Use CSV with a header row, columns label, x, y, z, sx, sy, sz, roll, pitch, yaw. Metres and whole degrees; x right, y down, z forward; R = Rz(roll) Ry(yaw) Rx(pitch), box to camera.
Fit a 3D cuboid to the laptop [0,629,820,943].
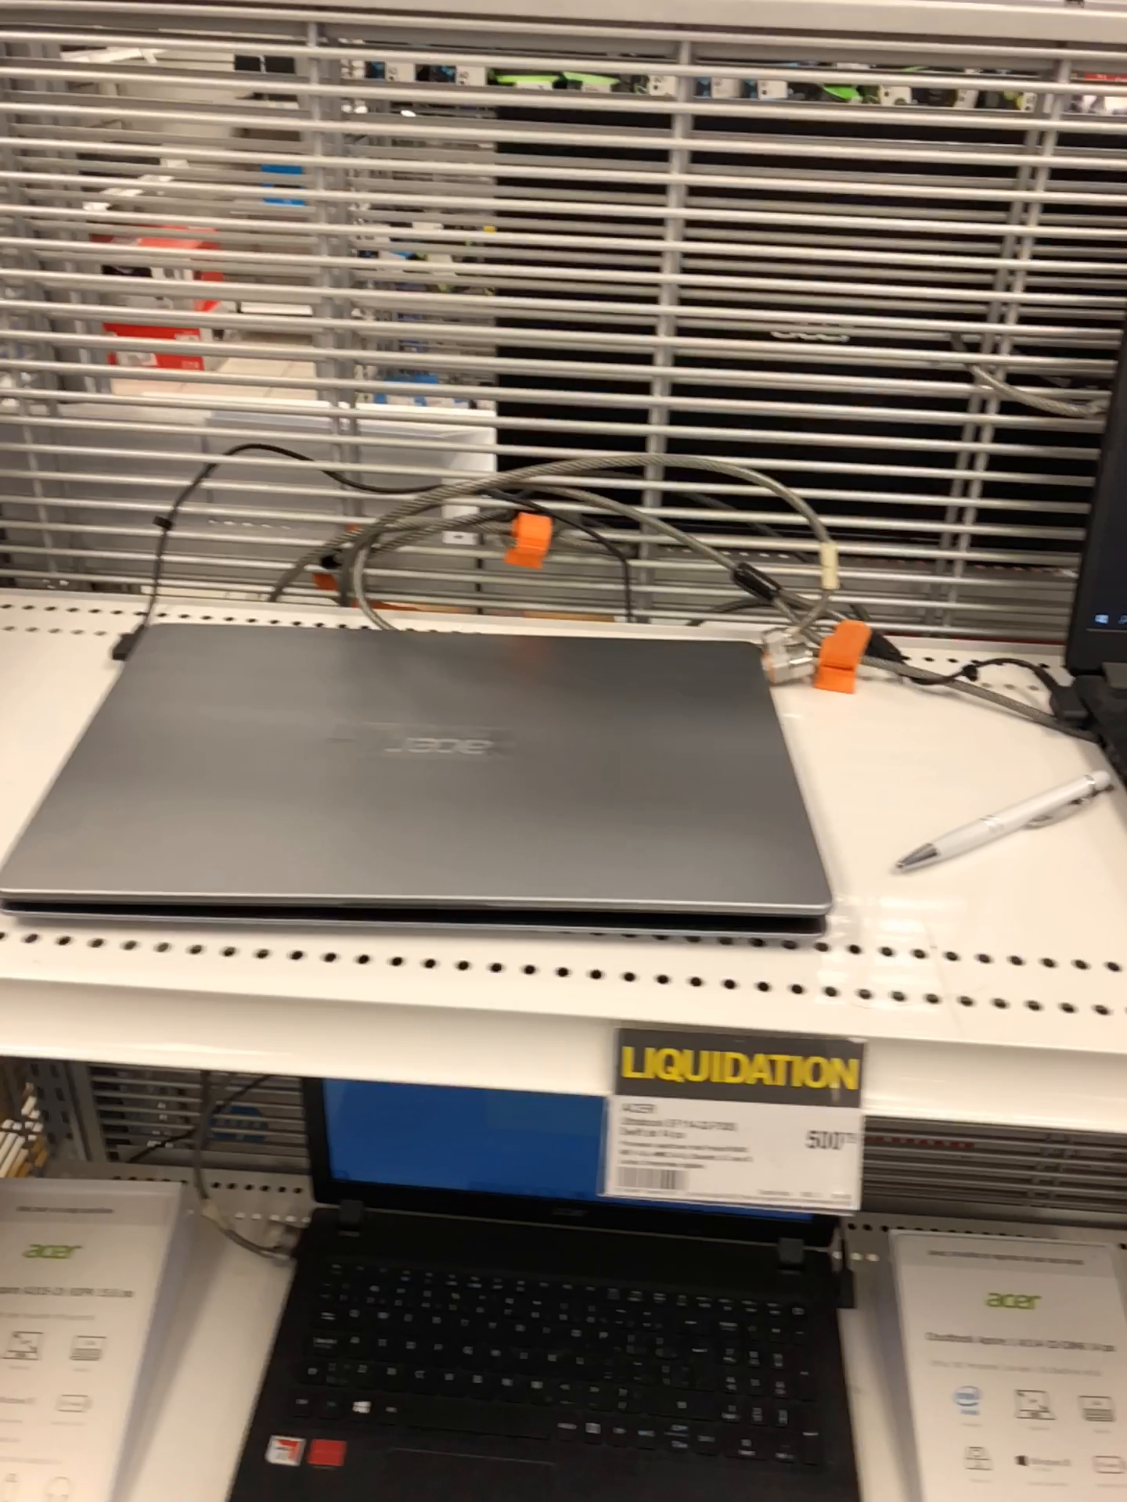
label,x,y,z,sx,sy,sz,roll,pitch,yaw
laptop,-0.058,0.005,0.569,0.315,0.006,0.220,2,34,0
